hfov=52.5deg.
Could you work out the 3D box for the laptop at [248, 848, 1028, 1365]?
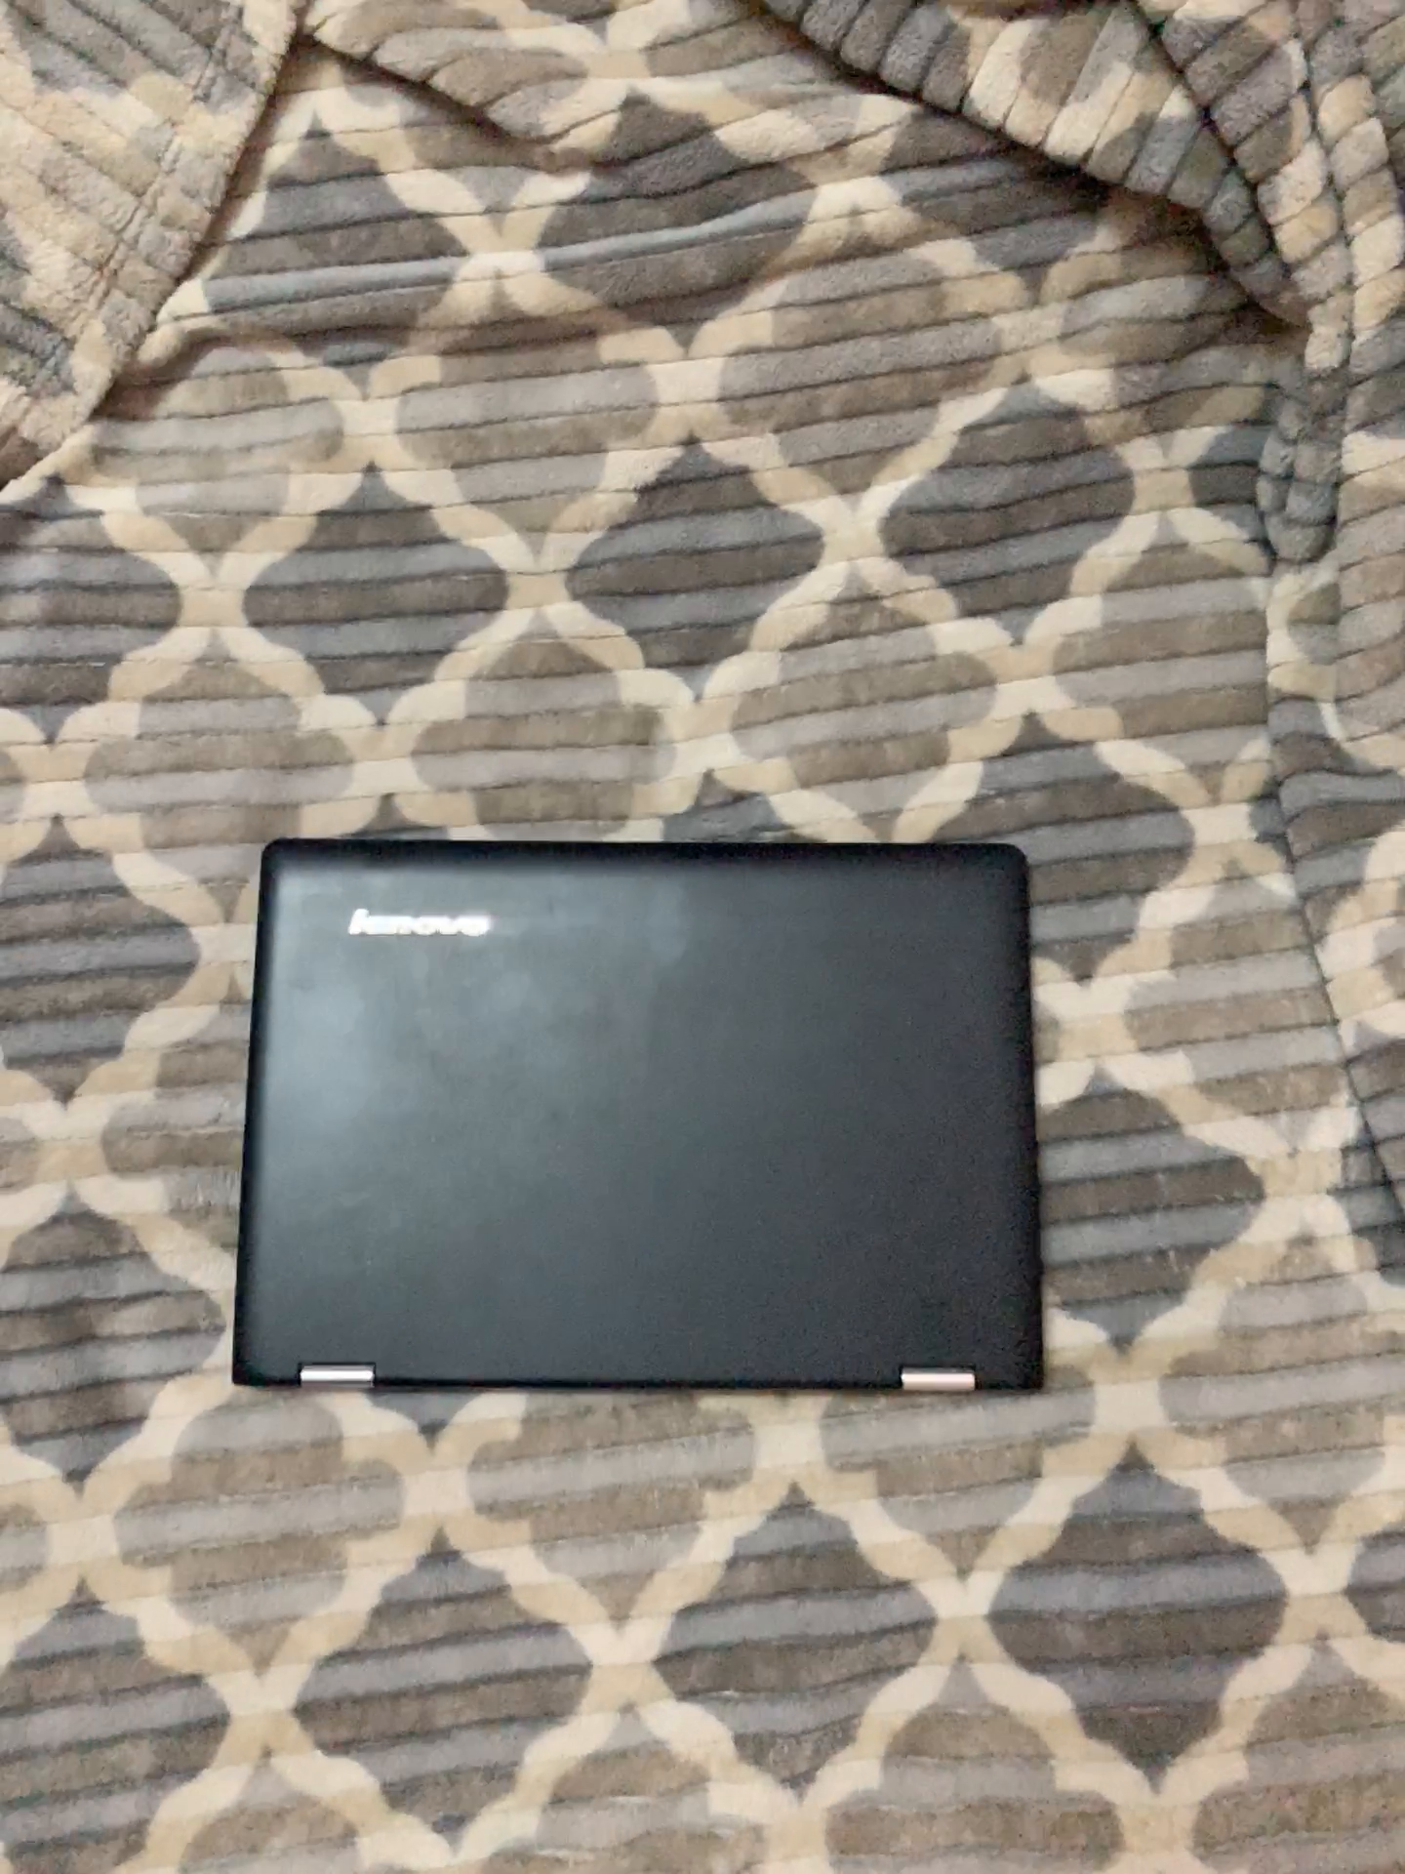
[{"bbox_3d":[-0.026,0.073,0.637,0.338,0.003,0.228,1,81,0],"label":"laptop"}]
